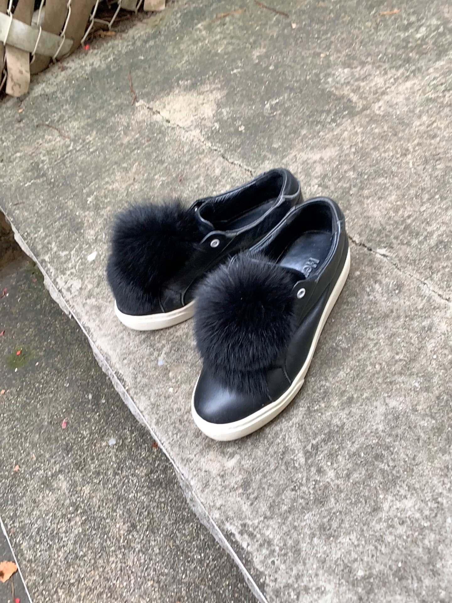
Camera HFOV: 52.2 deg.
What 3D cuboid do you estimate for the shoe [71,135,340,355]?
[{"bbox_3d":[-0.019,-0.063,0.517,0.269,0.097,0.095,-28,51,-3],"label":"shoe"}]

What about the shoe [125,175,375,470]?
[{"bbox_3d":[0.037,0.010,0.429,0.098,0.097,0.243,23,65,31],"label":"shoe"}]
